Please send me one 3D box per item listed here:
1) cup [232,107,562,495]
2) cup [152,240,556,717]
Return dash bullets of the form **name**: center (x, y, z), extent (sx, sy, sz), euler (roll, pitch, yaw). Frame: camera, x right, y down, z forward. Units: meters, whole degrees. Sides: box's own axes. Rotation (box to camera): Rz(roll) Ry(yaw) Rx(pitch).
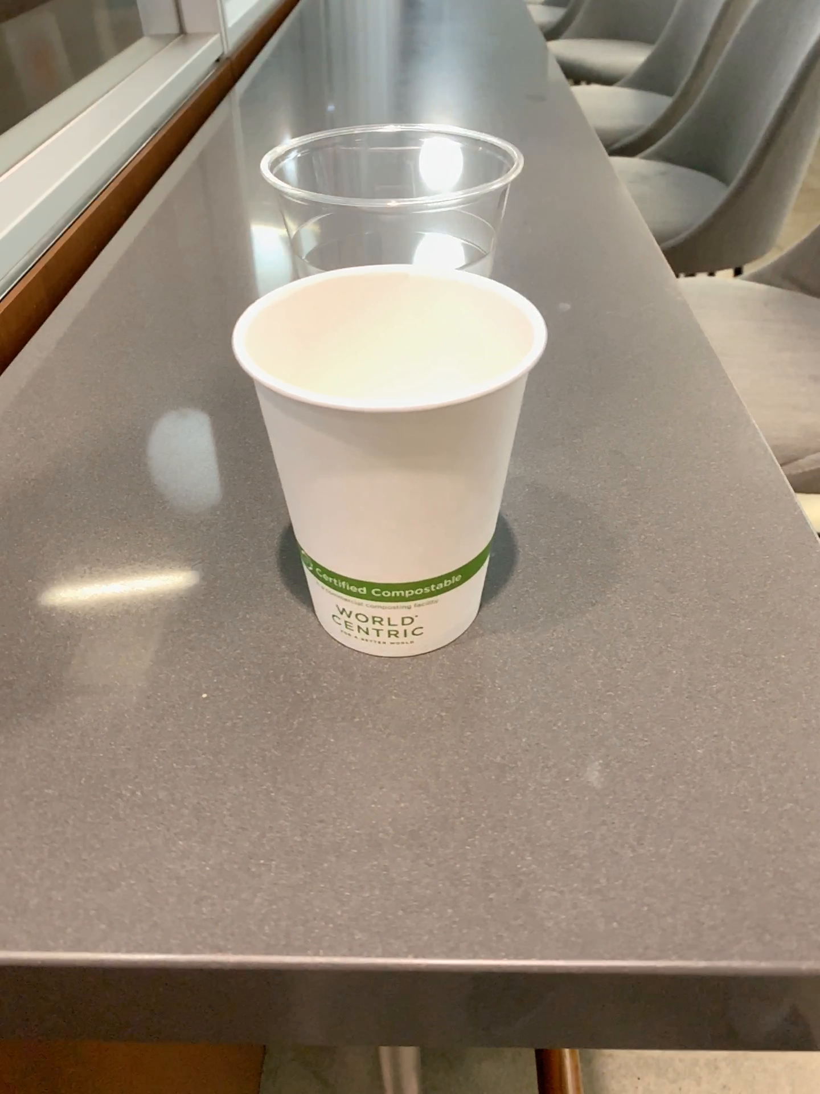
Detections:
- **cup**: center (0.001, -0.098, 0.335), extent (0.100, 0.119, 0.080), euler (7, 41, 11)
- **cup**: center (-0.008, -0.024, 0.269), extent (0.090, 0.109, 0.090), euler (-1, 40, 1)
